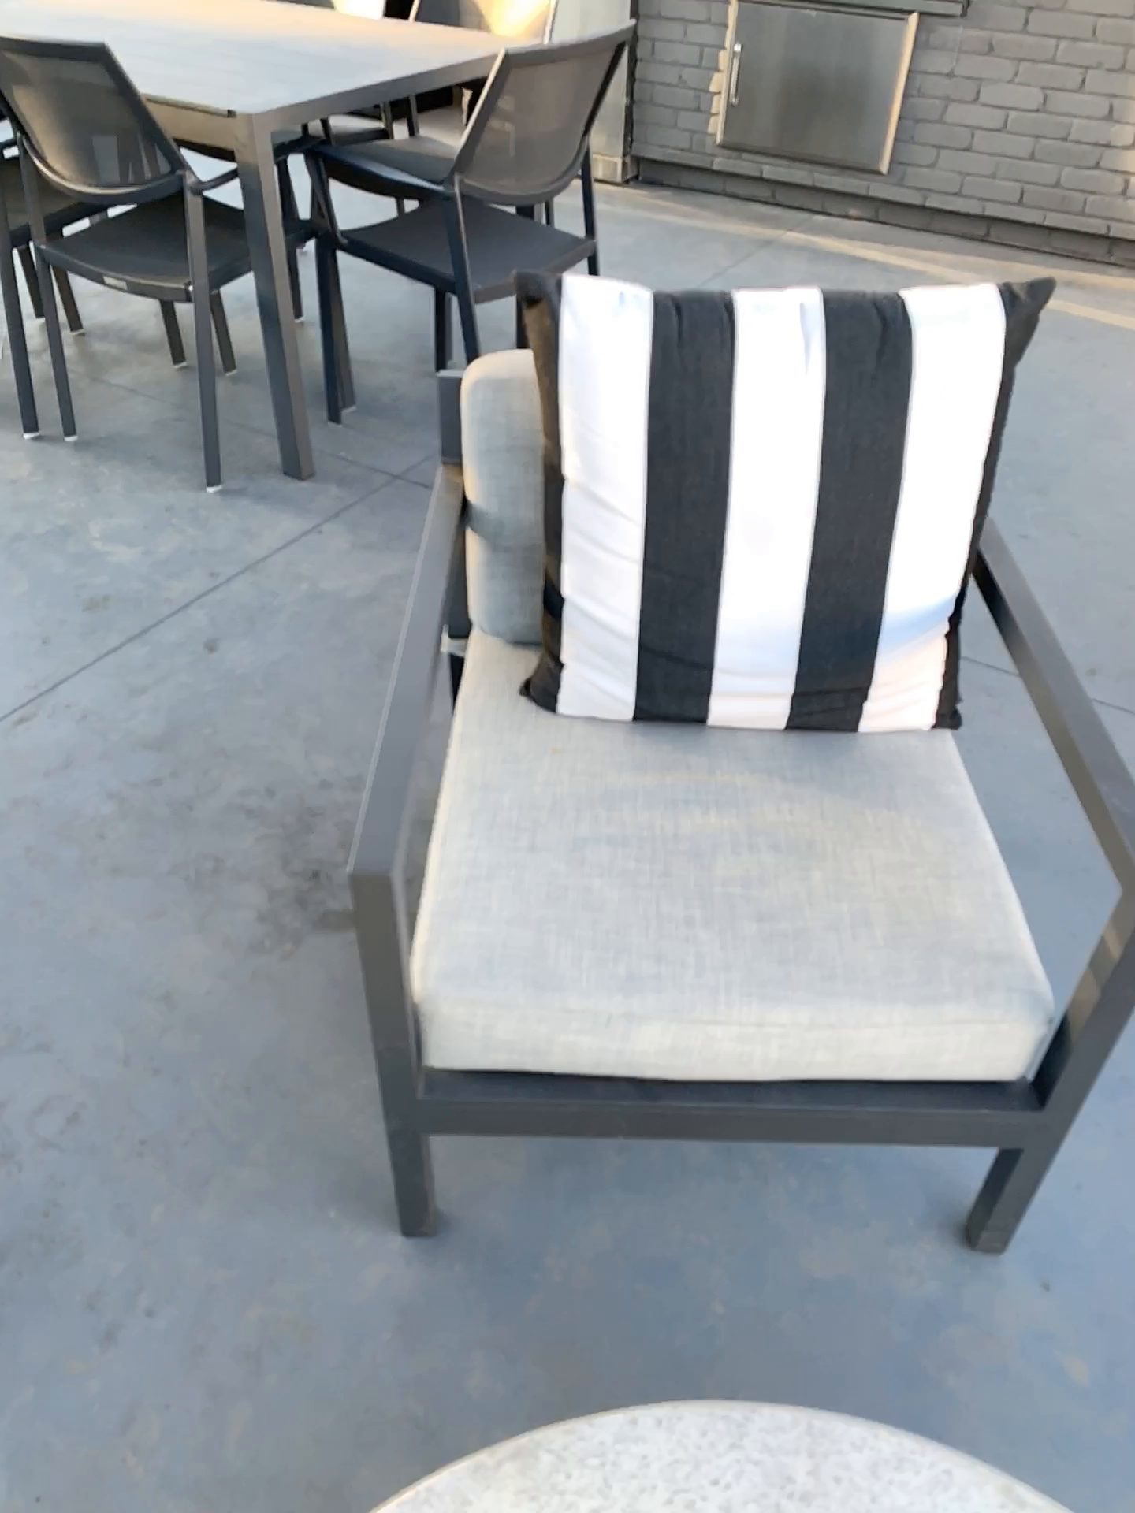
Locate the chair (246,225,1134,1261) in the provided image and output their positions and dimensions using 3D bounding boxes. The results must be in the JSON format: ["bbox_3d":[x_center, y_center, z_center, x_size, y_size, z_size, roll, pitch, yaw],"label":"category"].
[{"bbox_3d":[0.168,-0.028,1.224,0.730,0.796,0.754,1,40,-1],"label":"chair"}]
